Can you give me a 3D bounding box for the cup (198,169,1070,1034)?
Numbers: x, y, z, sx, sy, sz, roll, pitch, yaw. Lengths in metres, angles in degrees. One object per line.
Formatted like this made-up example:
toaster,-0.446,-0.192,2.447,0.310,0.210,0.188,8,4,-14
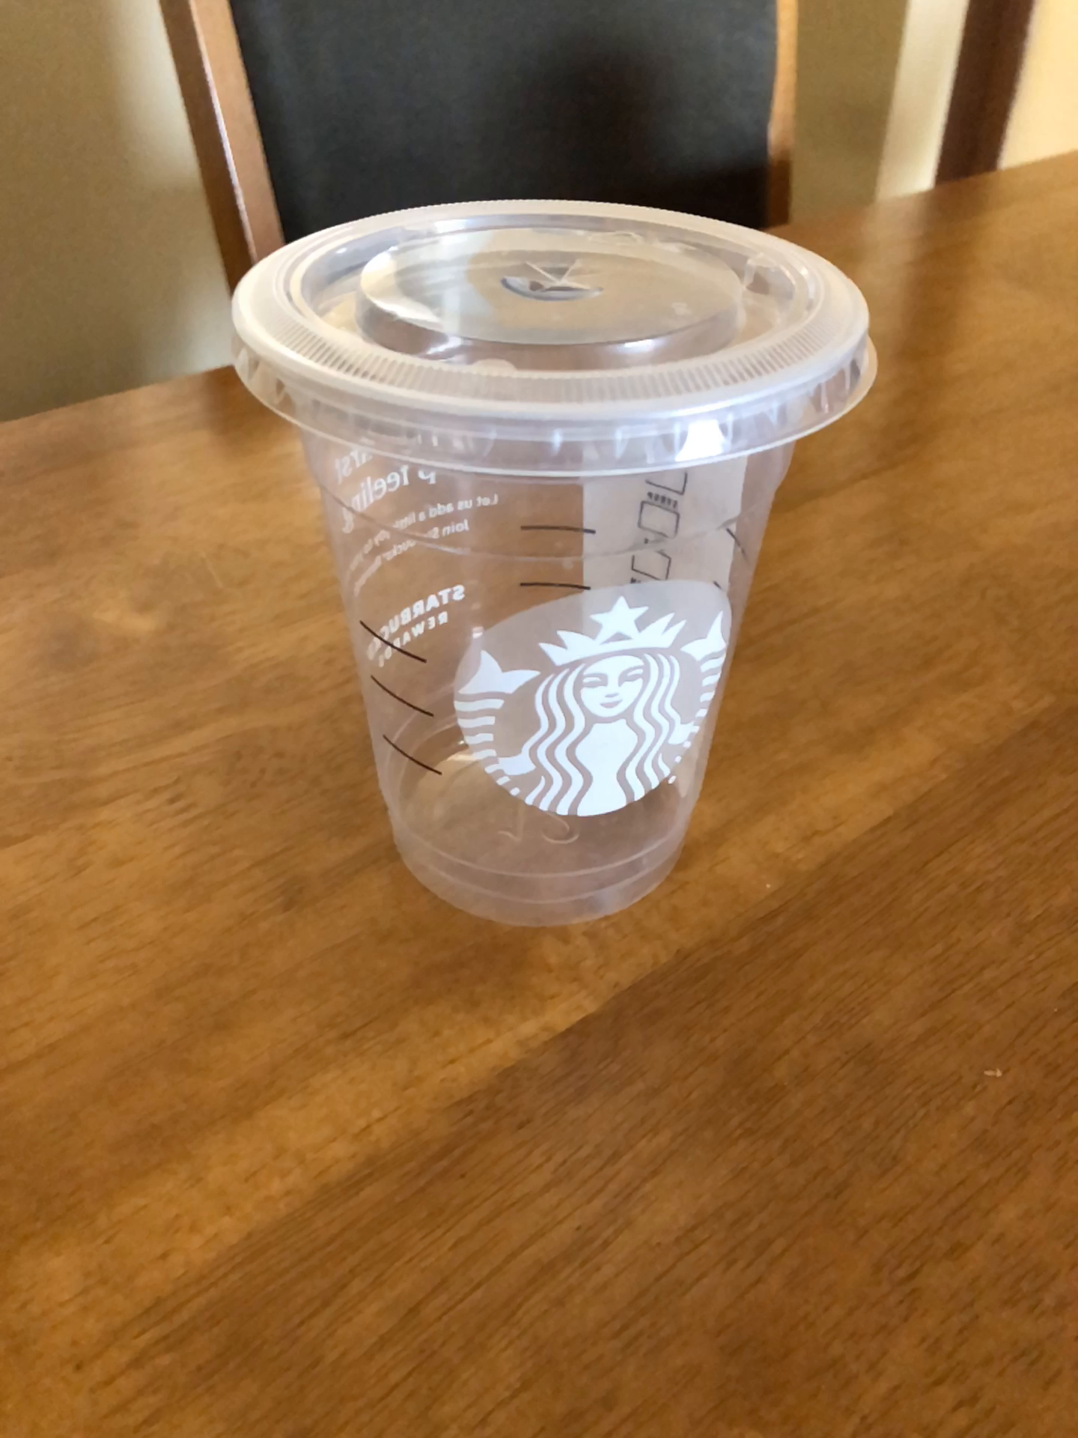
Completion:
cup,0.004,-0.025,0.202,0.100,0.100,0.090,-9,38,-13
